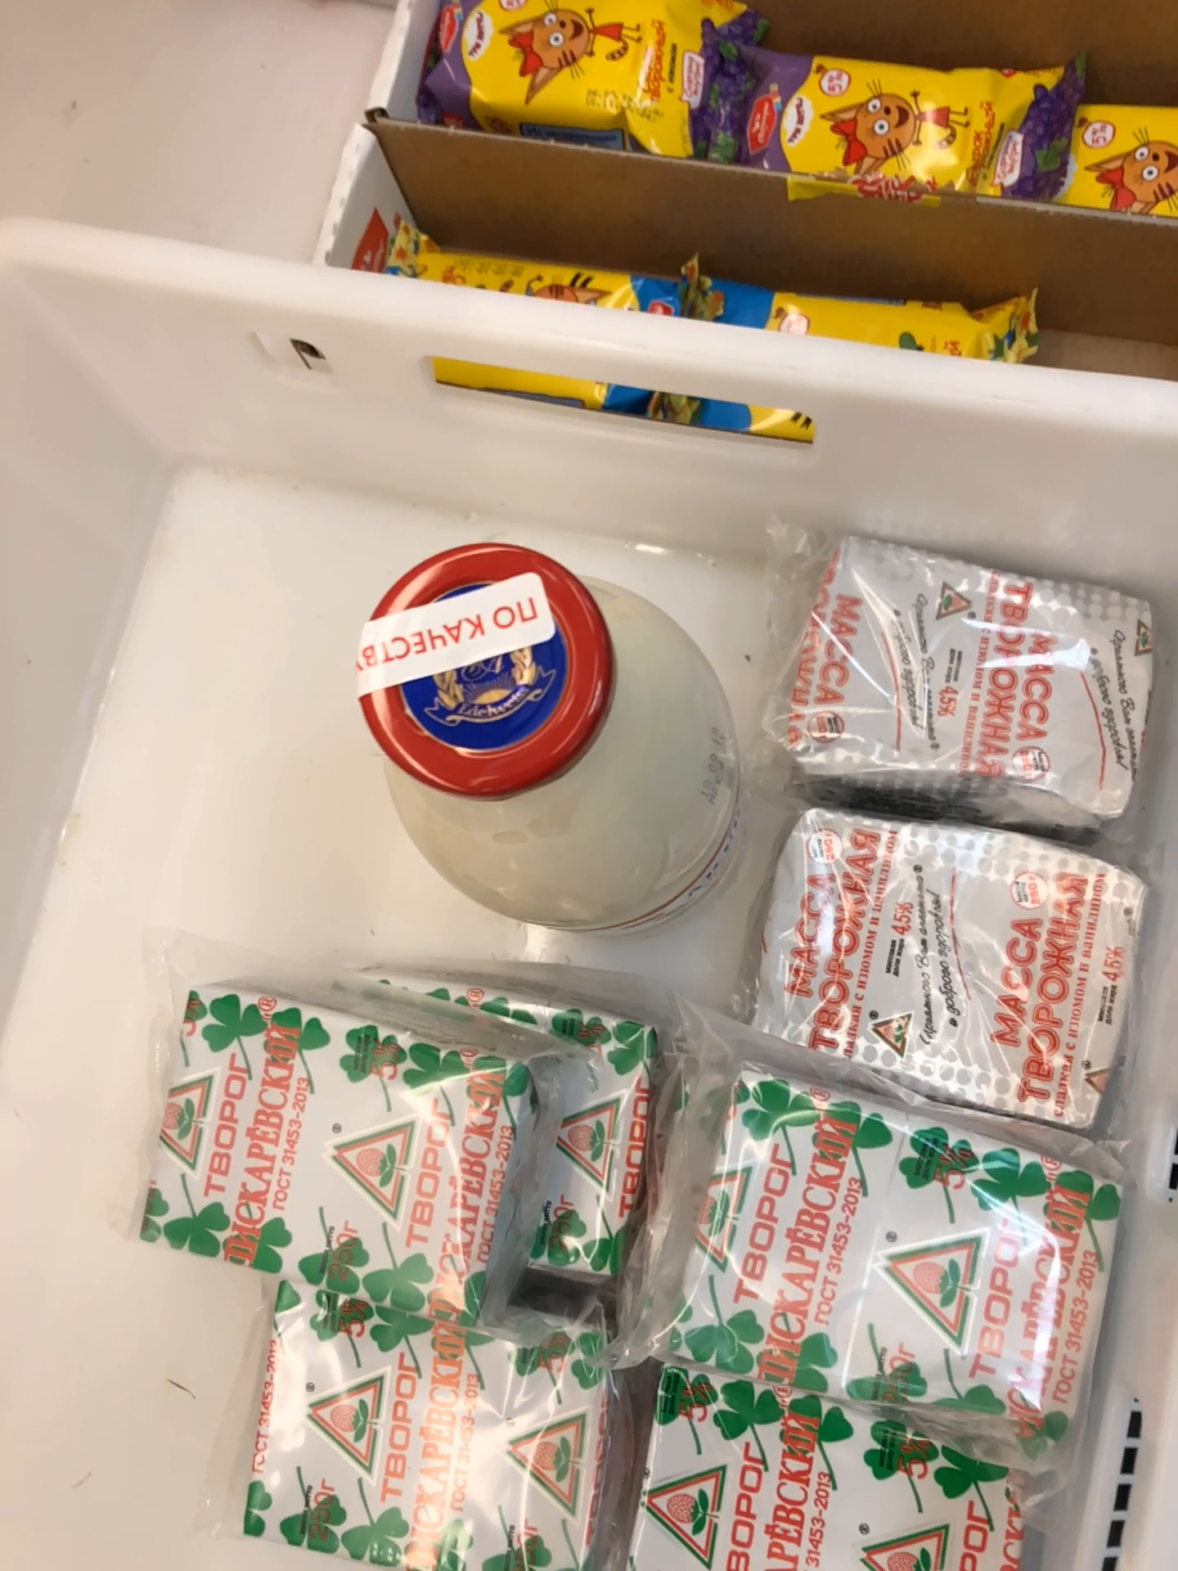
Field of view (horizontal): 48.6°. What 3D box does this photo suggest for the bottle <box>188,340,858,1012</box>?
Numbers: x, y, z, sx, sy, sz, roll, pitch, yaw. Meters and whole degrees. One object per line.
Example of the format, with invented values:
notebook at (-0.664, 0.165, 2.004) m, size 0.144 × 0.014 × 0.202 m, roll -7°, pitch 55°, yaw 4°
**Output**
bottle at (0.003, -0.004, 0.318) m, size 0.090 × 0.210 × 0.090 m, roll -2°, pitch 79°, yaw 8°
